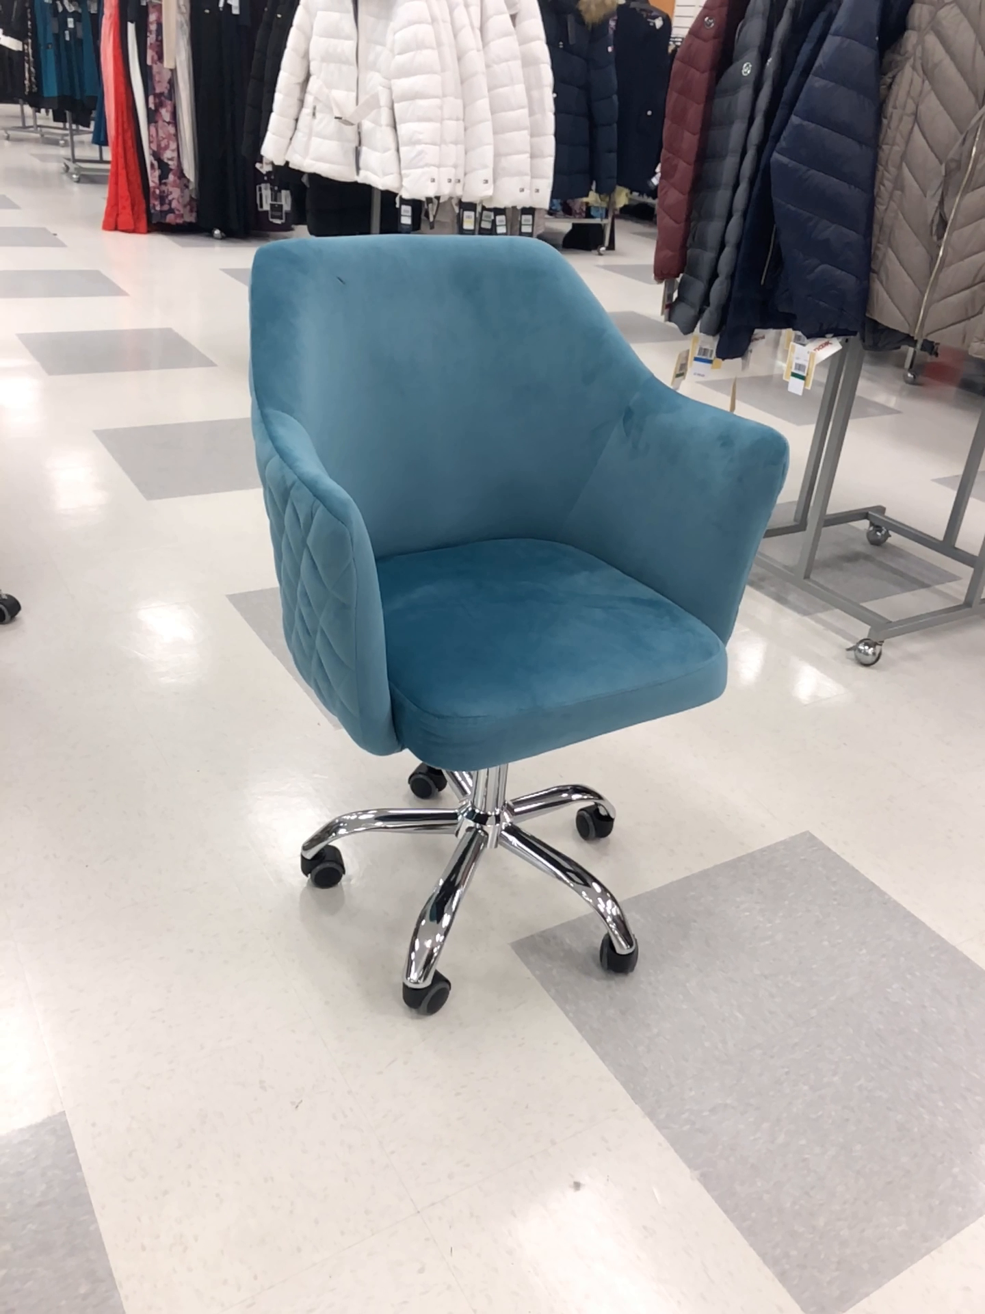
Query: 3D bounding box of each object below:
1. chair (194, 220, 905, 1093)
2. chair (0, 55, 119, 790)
[{"bbox_3d":[0.005,-0.054,1.423,0.596,0.888,0.563,-12,33,-29],"label":"chair"},{"bbox_3d":[-1.205,-0.452,1.885,0.735,0.967,0.655,21,32,26],"label":"chair"}]
